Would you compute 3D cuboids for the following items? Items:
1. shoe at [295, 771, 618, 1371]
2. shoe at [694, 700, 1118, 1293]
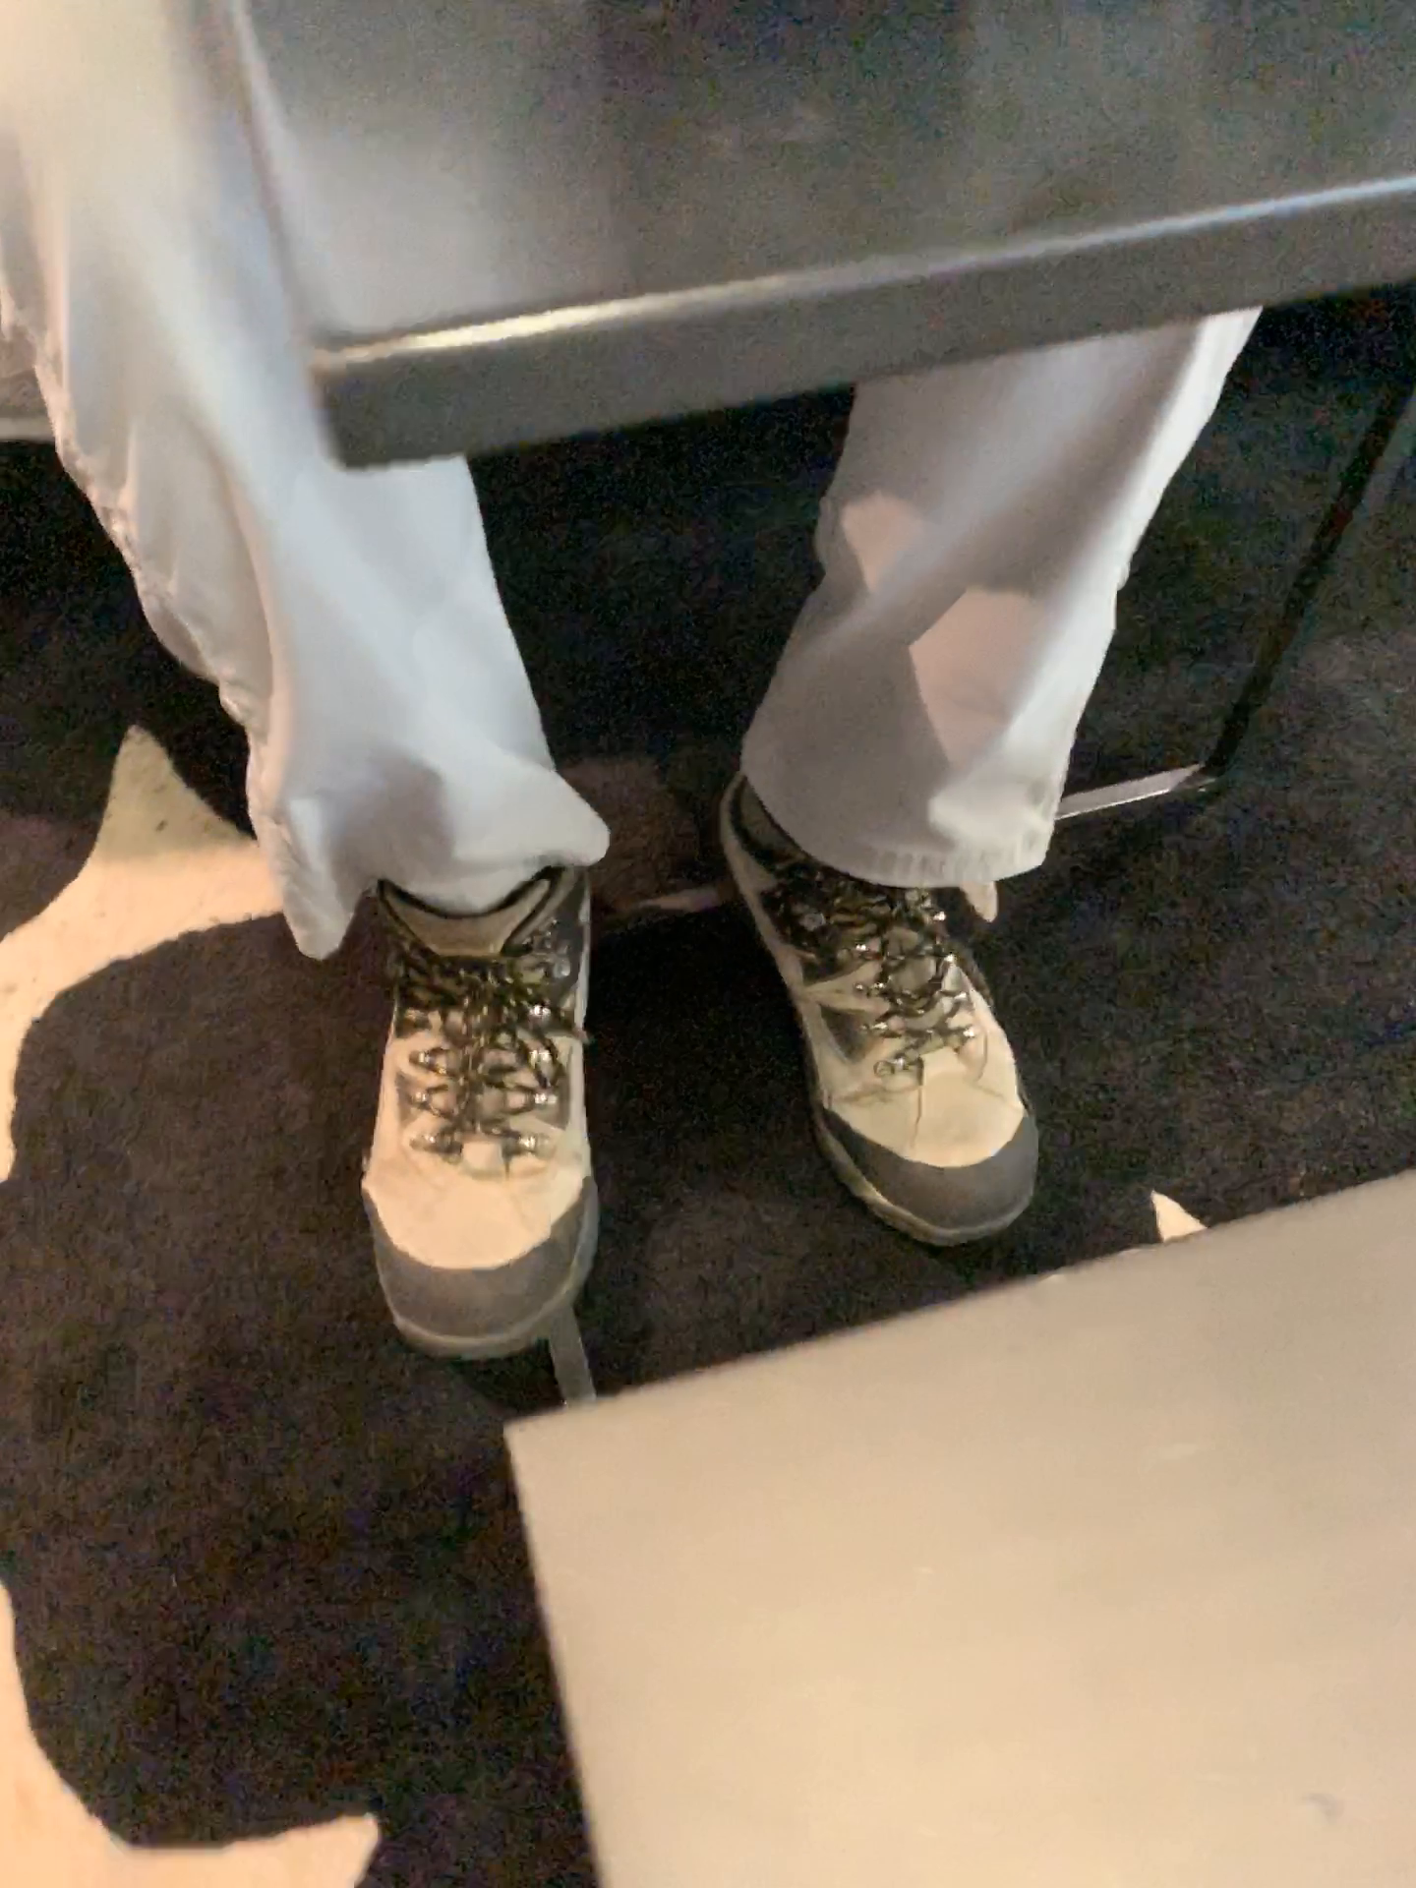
[{"bbox_3d":[-0.115,0.059,0.729,0.123,0.090,0.285,1,63,-1],"label":"shoe"},{"bbox_3d":[0.094,0.018,0.792,0.121,0.080,0.304,-13,60,-10],"label":"shoe"}]
